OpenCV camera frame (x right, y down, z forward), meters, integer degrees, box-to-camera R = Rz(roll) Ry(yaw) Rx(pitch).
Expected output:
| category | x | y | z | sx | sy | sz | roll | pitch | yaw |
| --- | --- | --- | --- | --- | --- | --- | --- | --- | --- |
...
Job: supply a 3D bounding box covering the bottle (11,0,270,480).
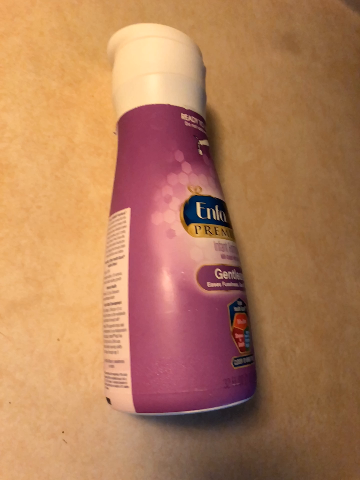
| category | x | y | z | sx | sy | sz | roll | pitch | yaw |
| --- | --- | --- | --- | --- | --- | --- | --- | --- | --- |
| bottle | -0.025 | -0.015 | 0.248 | 0.090 | 0.100 | 0.280 | 16 | 66 | -49 |
